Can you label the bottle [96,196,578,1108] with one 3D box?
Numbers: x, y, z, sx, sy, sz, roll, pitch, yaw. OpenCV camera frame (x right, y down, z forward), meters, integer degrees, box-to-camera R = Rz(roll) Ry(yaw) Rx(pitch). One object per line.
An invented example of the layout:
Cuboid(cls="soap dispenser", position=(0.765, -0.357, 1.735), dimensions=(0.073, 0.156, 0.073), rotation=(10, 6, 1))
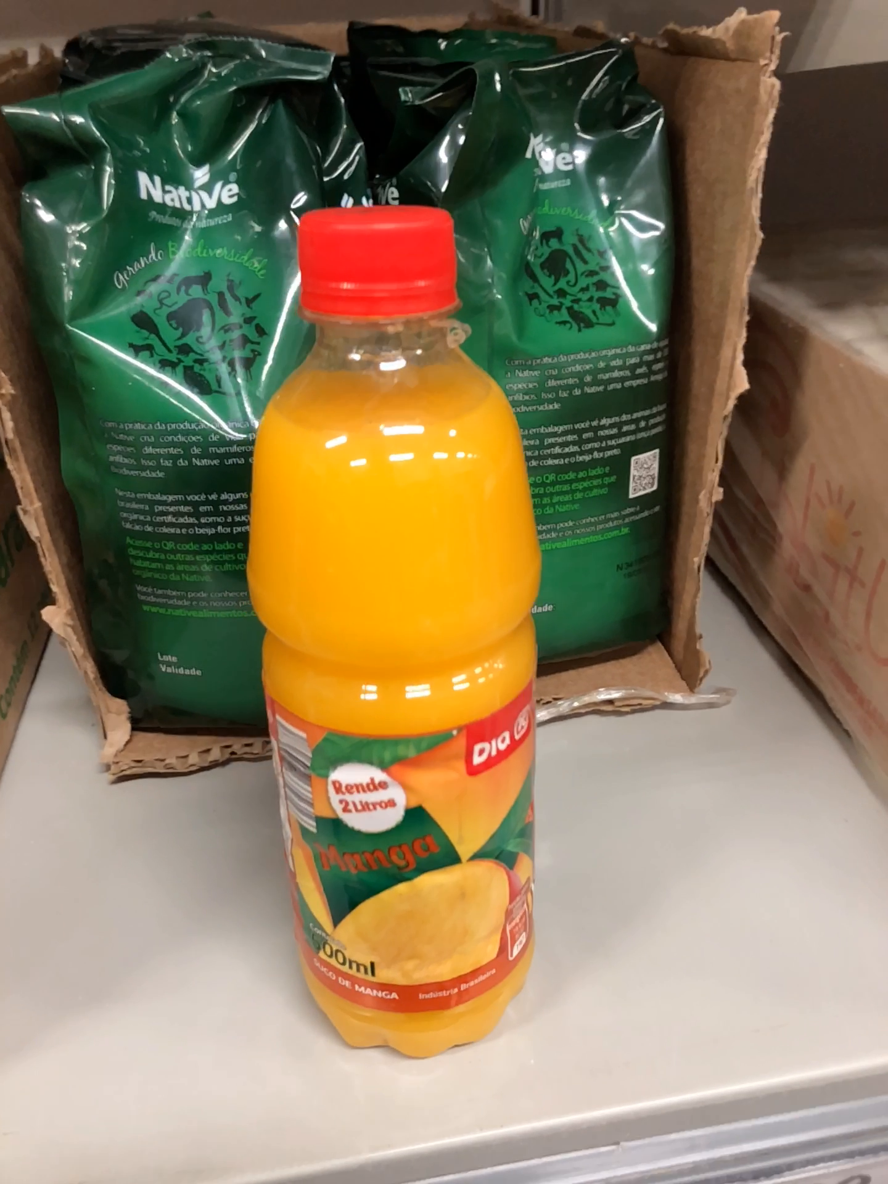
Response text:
Cuboid(cls="bottle", position=(-0.011, 0.021, 0.224), dimensions=(0.070, 0.199, 0.060), rotation=(5, 30, 13))
